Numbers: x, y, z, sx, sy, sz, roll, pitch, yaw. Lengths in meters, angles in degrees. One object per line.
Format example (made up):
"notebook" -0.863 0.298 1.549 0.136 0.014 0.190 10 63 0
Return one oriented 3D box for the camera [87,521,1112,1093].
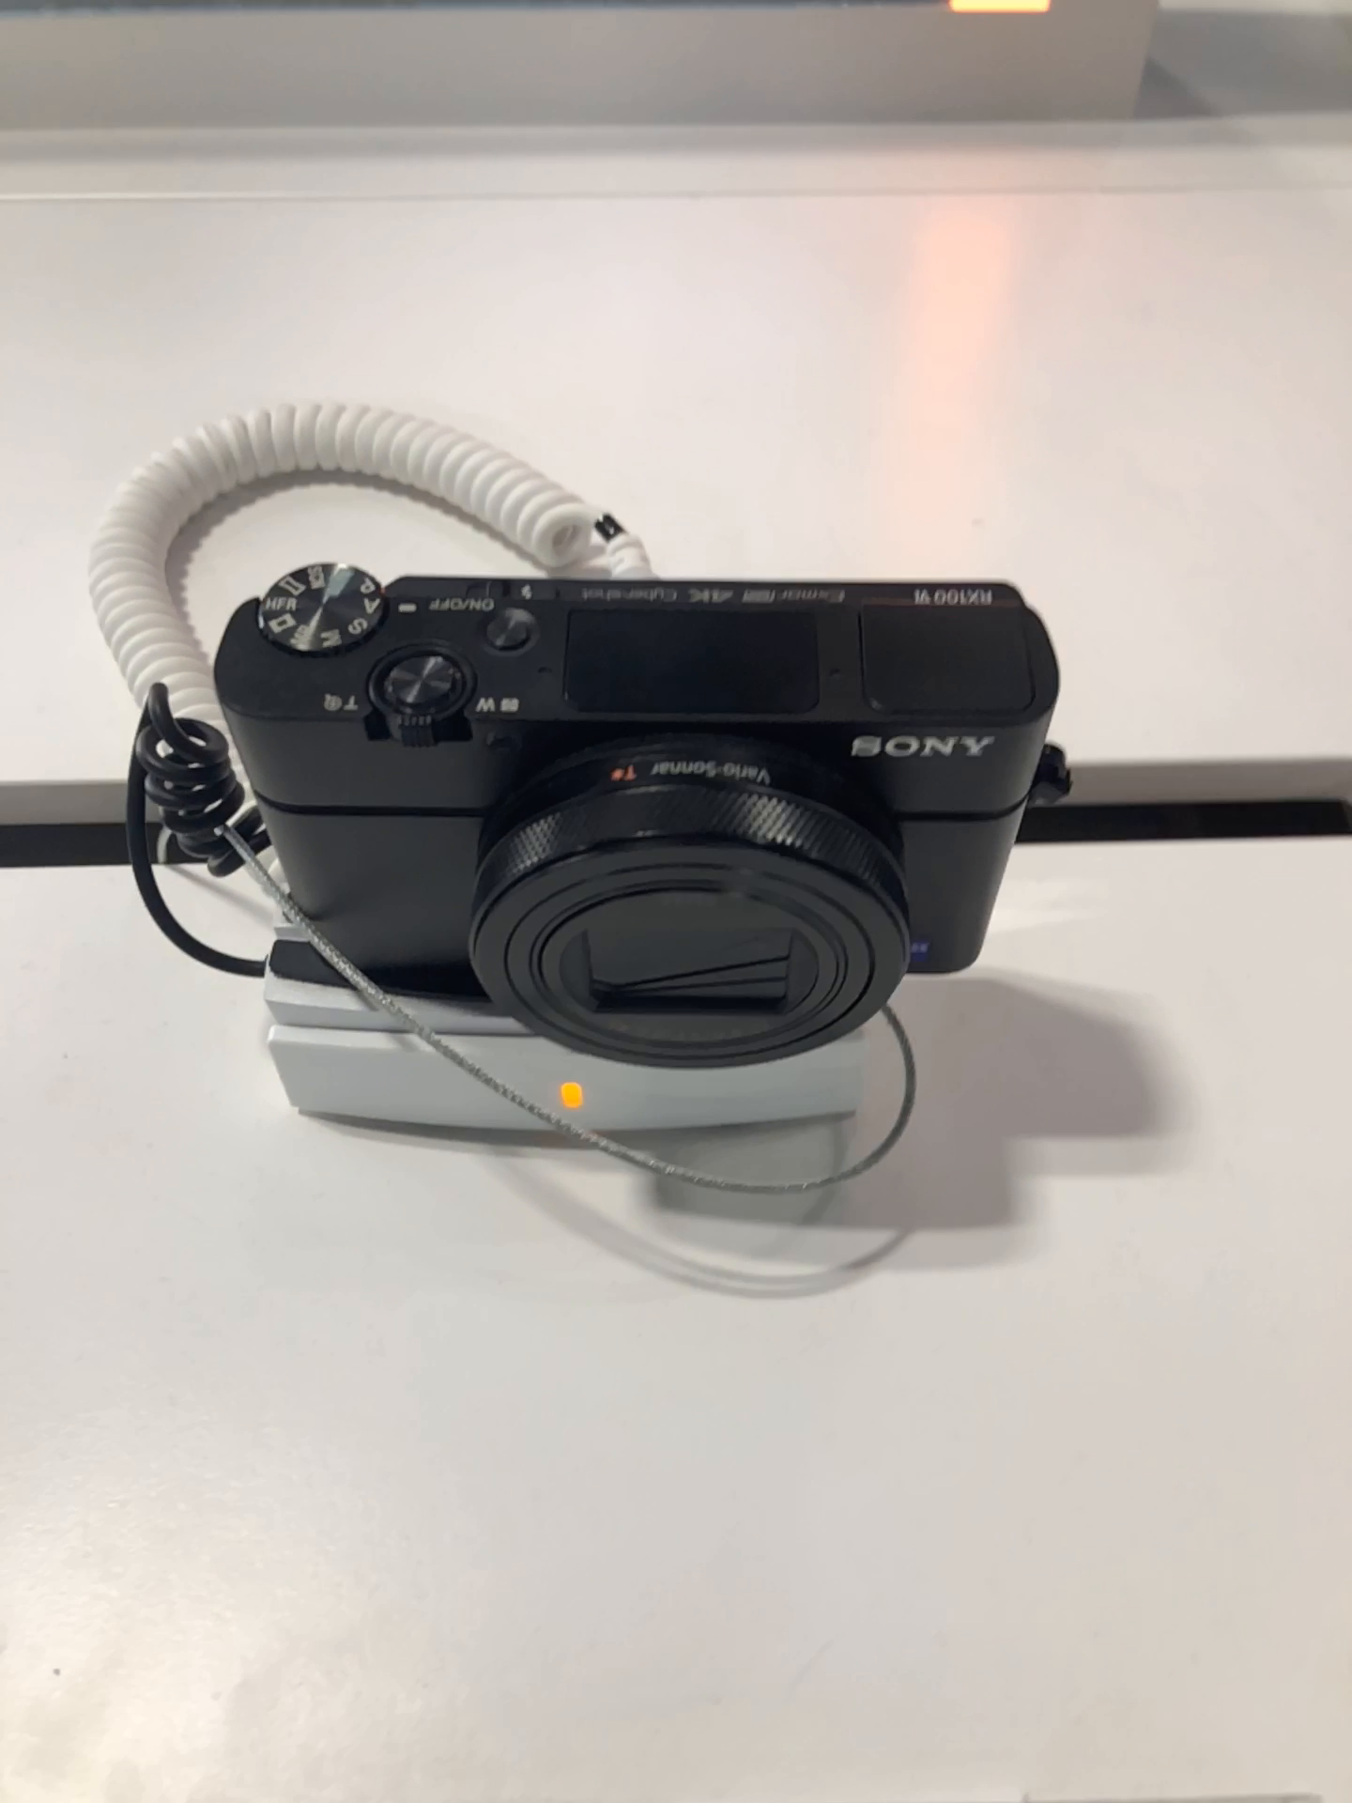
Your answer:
"camera" -0.008 -0.010 0.201 0.110 0.070 0.040 0 53 0
